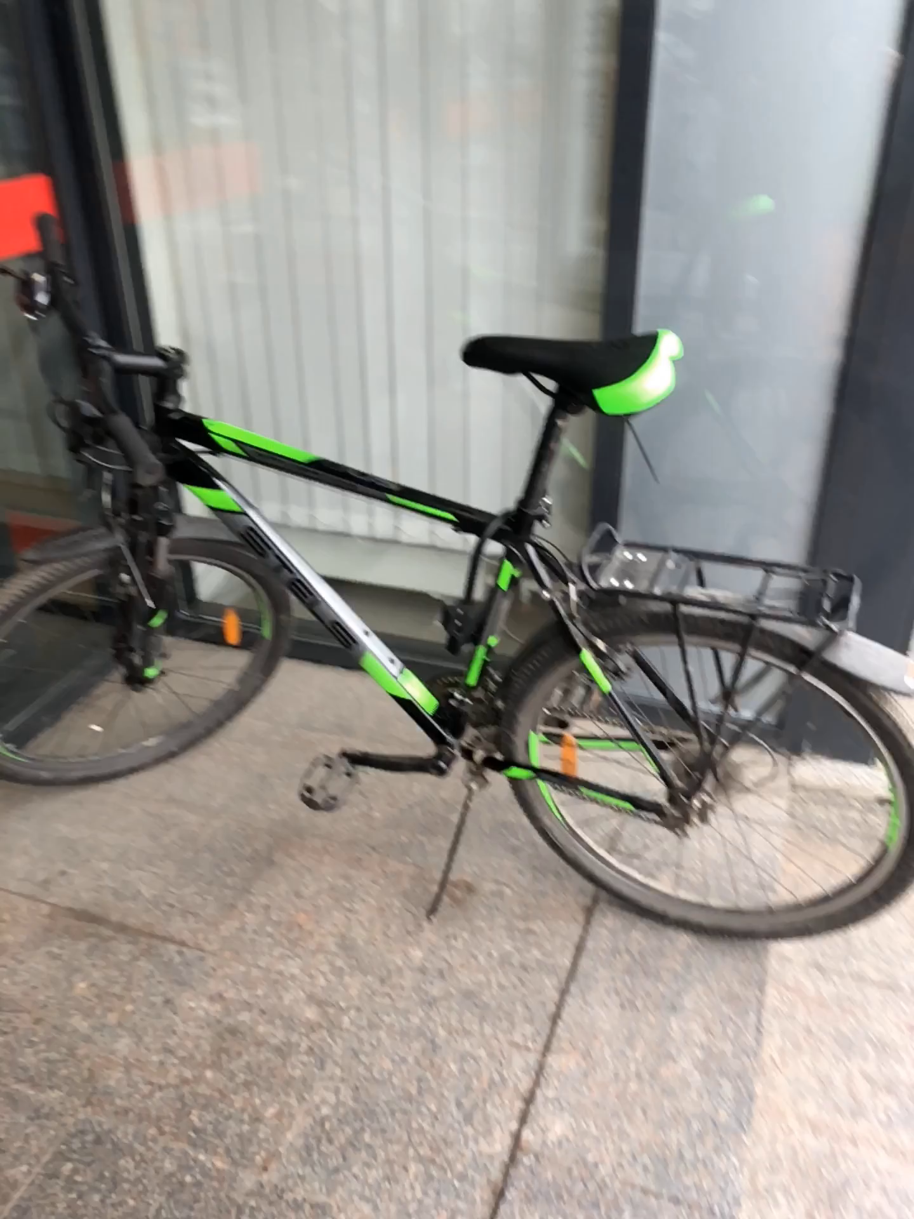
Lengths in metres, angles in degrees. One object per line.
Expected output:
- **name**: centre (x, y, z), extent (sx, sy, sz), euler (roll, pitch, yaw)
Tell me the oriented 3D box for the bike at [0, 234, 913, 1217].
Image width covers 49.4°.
- **bike**: centre (-0.110, 0.087, 1.403), extent (1.545, 1.051, 0.631), euler (5, 30, 11)
